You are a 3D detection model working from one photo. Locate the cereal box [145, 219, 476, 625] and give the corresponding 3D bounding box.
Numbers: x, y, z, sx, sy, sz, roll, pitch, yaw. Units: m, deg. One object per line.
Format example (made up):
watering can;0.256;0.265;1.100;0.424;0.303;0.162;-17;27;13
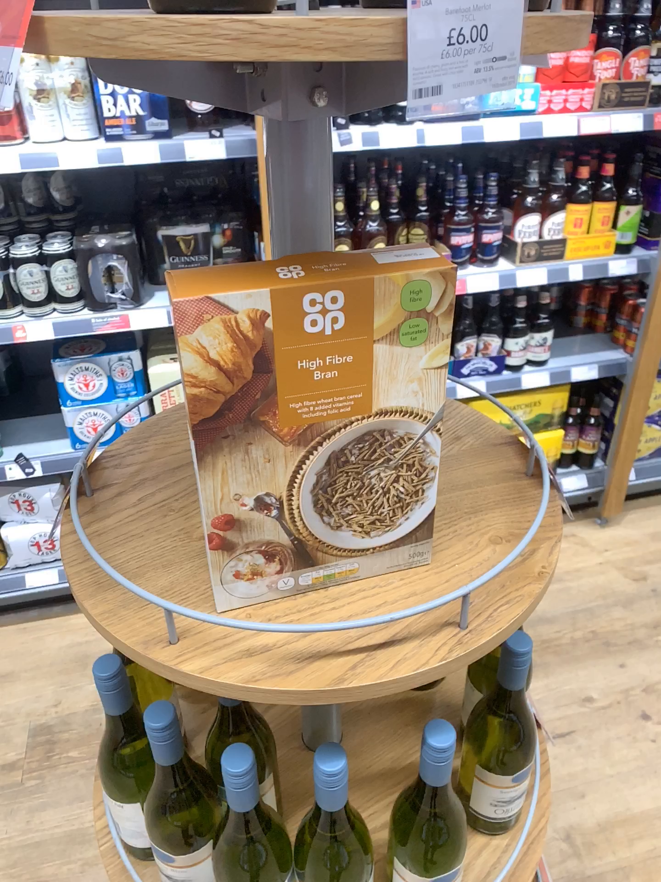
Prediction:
cereal box;-0.011;-0.006;0.502;0.200;0.277;0.061;-10;34;-14
